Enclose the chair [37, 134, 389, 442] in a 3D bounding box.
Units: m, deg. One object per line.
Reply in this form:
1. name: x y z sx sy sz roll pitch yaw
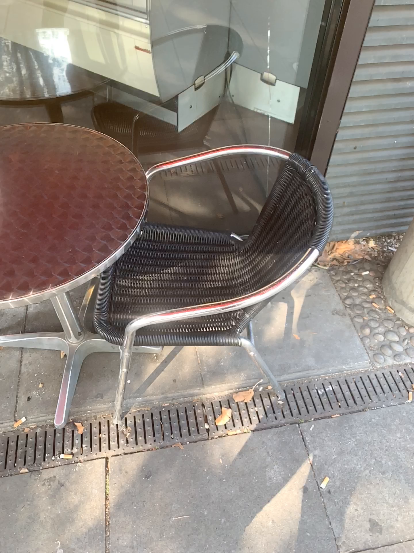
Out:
1. chair: -0.006 0.037 1.192 0.640 0.605 0.605 -1 49 -3
